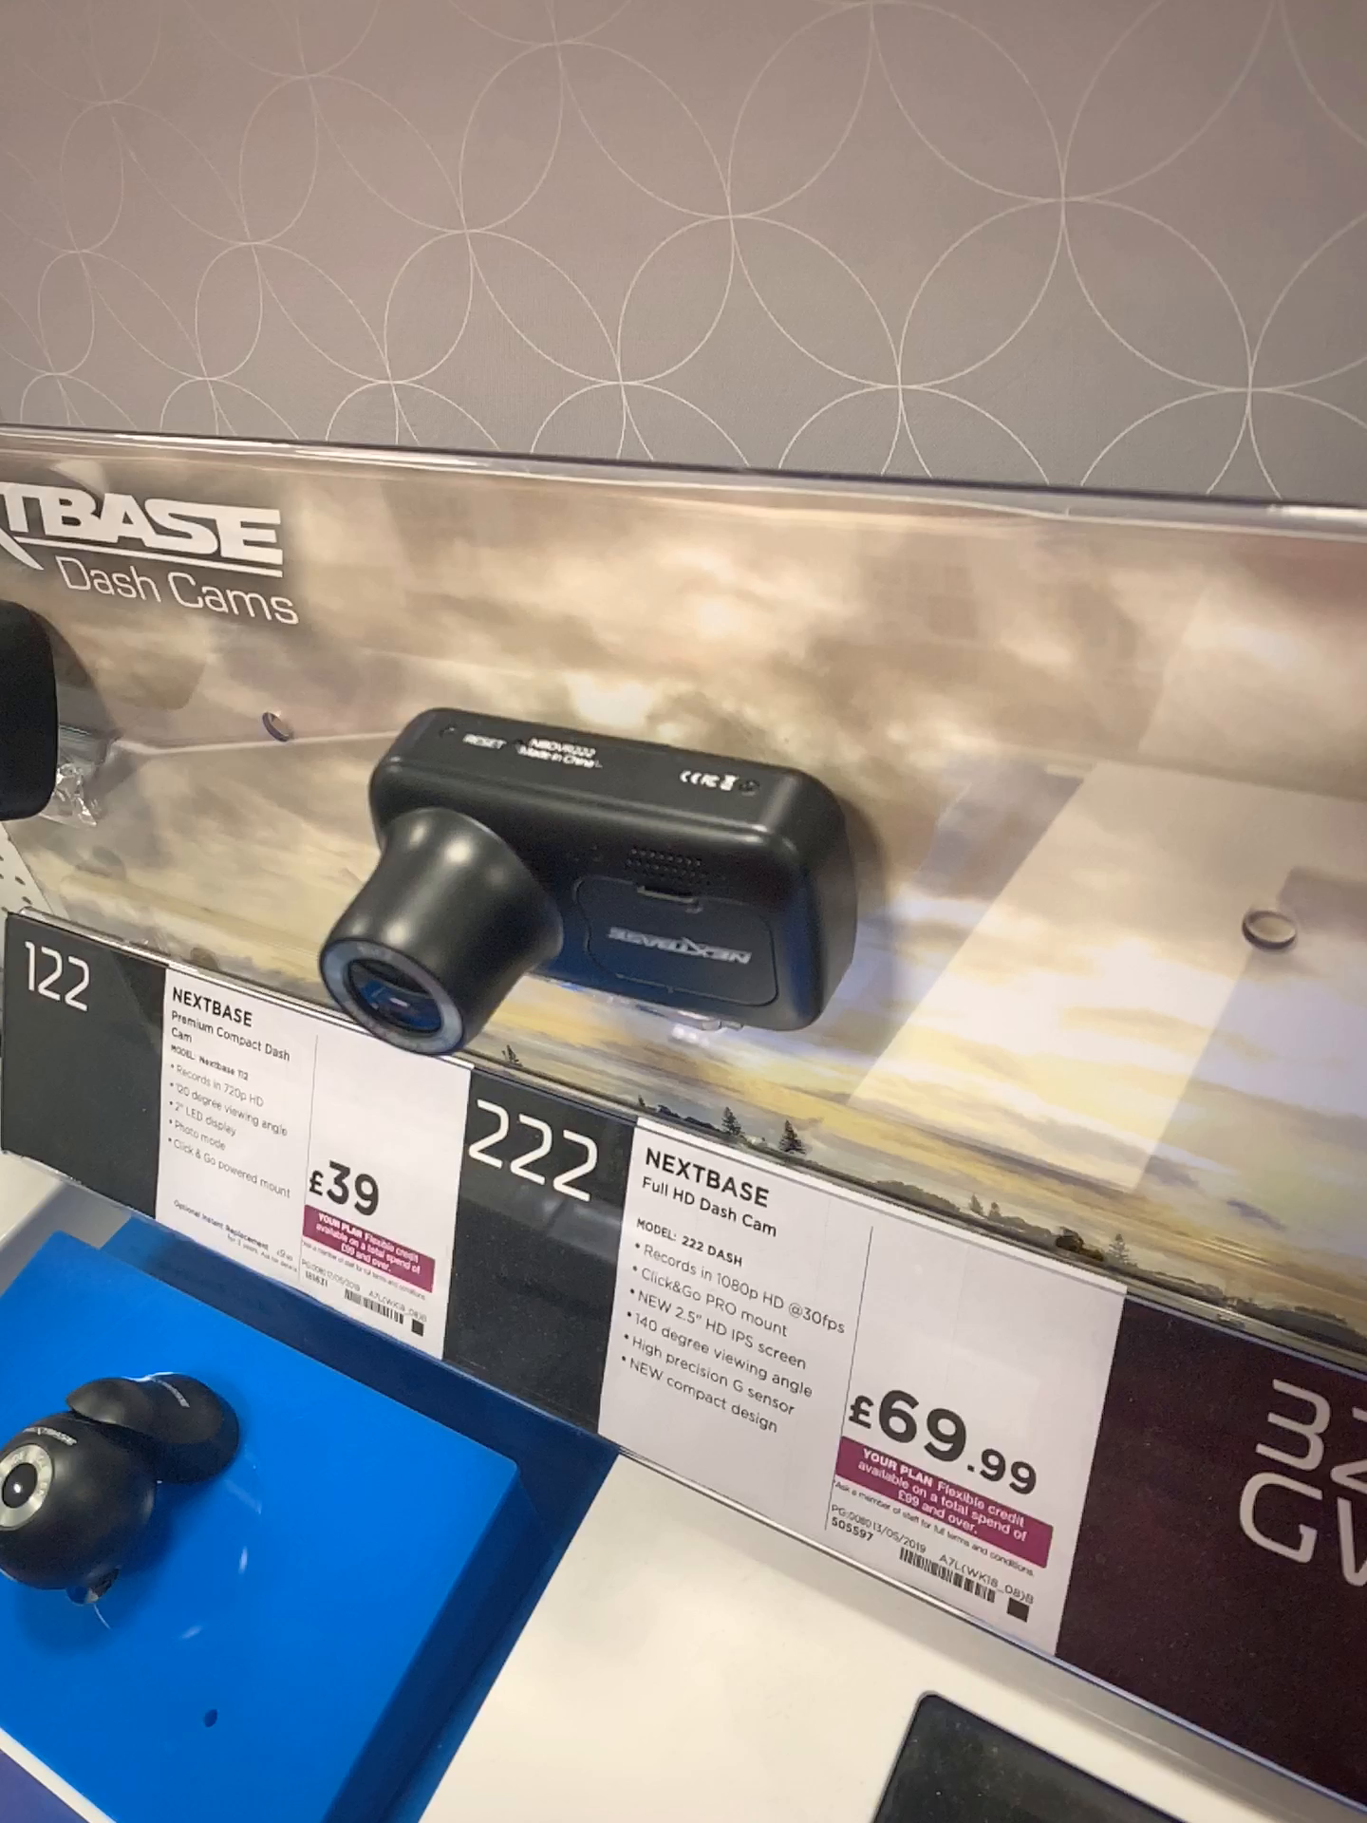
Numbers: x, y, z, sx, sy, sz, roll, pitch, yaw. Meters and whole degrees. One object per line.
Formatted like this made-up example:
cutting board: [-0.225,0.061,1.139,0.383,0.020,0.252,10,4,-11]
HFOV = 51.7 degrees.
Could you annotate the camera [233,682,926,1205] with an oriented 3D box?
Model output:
camera: [-0.015,0.001,0.222,0.090,0.040,0.050,14,47,28]
